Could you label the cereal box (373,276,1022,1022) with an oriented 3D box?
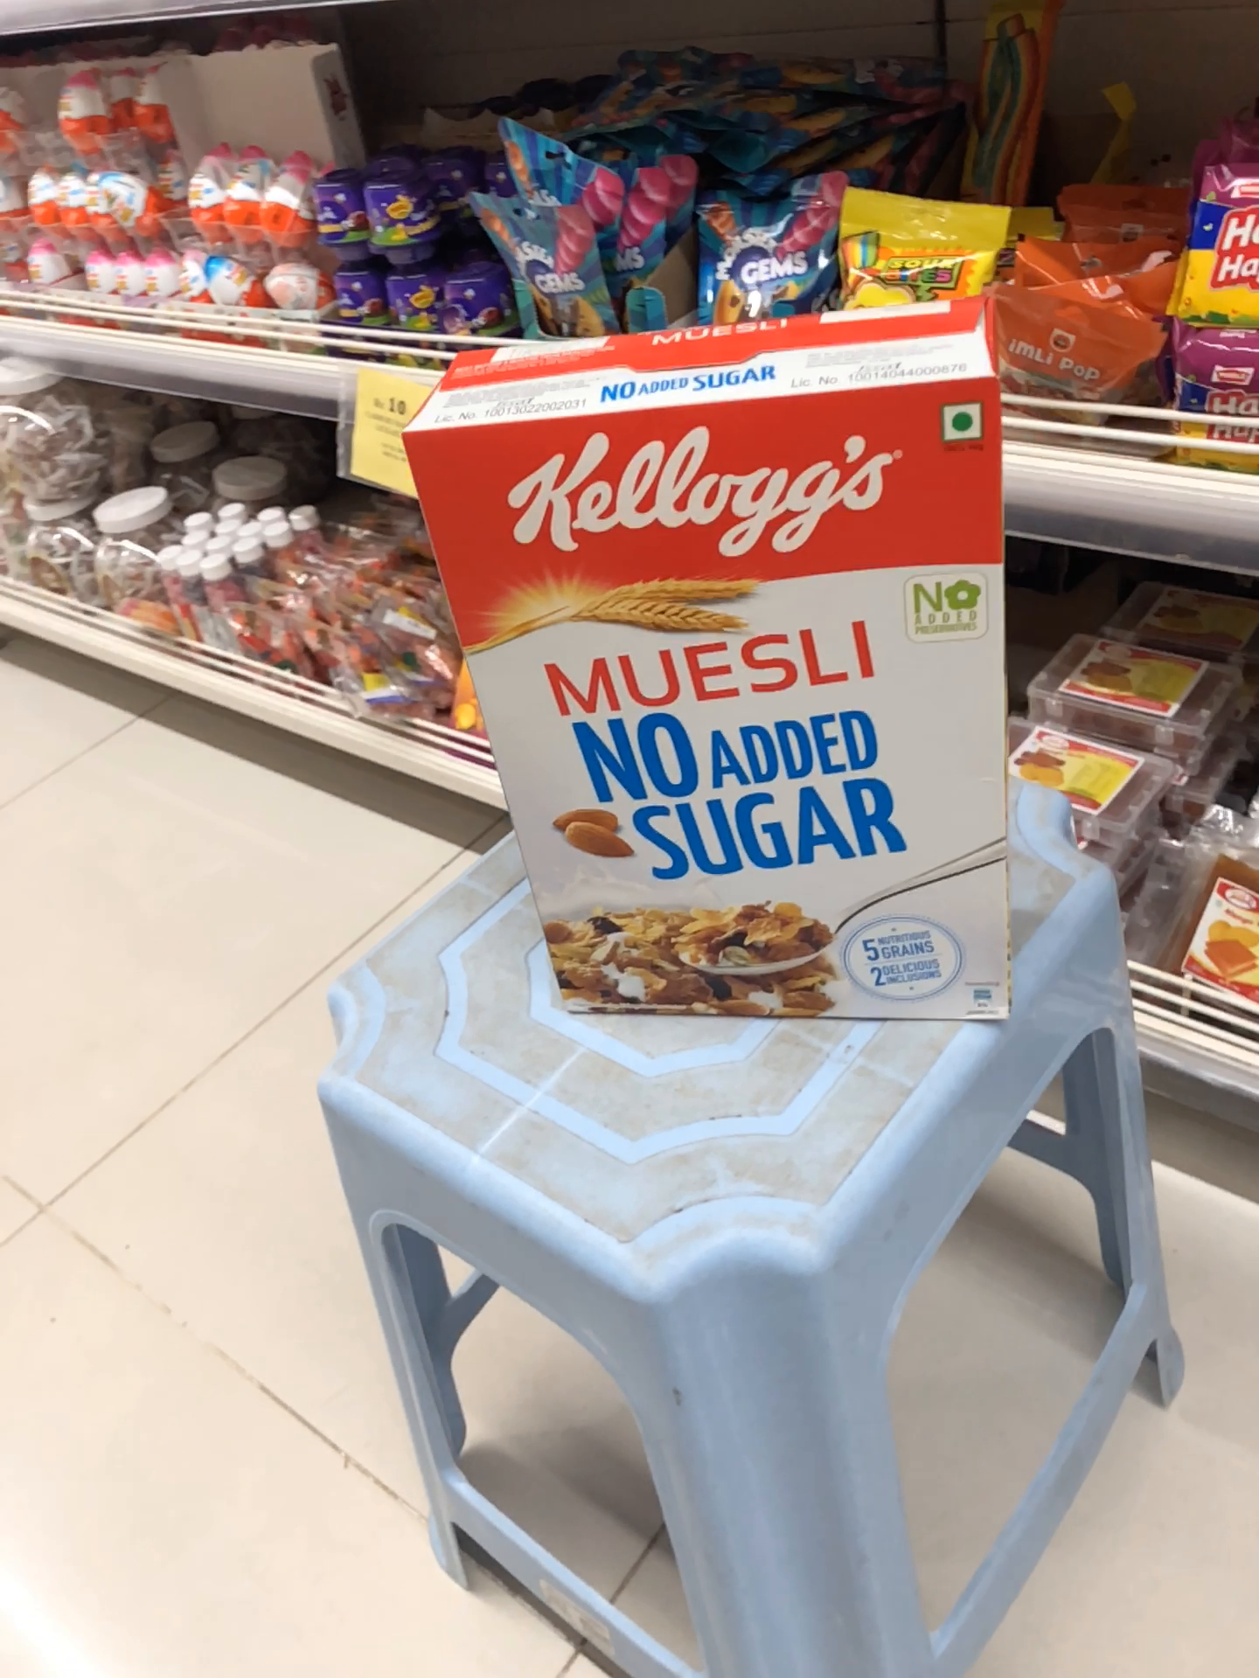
[{"bbox_3d":[0.042,-0.050,0.509,0.190,0.259,0.070,-2,39,15],"label":"cereal box"}]
